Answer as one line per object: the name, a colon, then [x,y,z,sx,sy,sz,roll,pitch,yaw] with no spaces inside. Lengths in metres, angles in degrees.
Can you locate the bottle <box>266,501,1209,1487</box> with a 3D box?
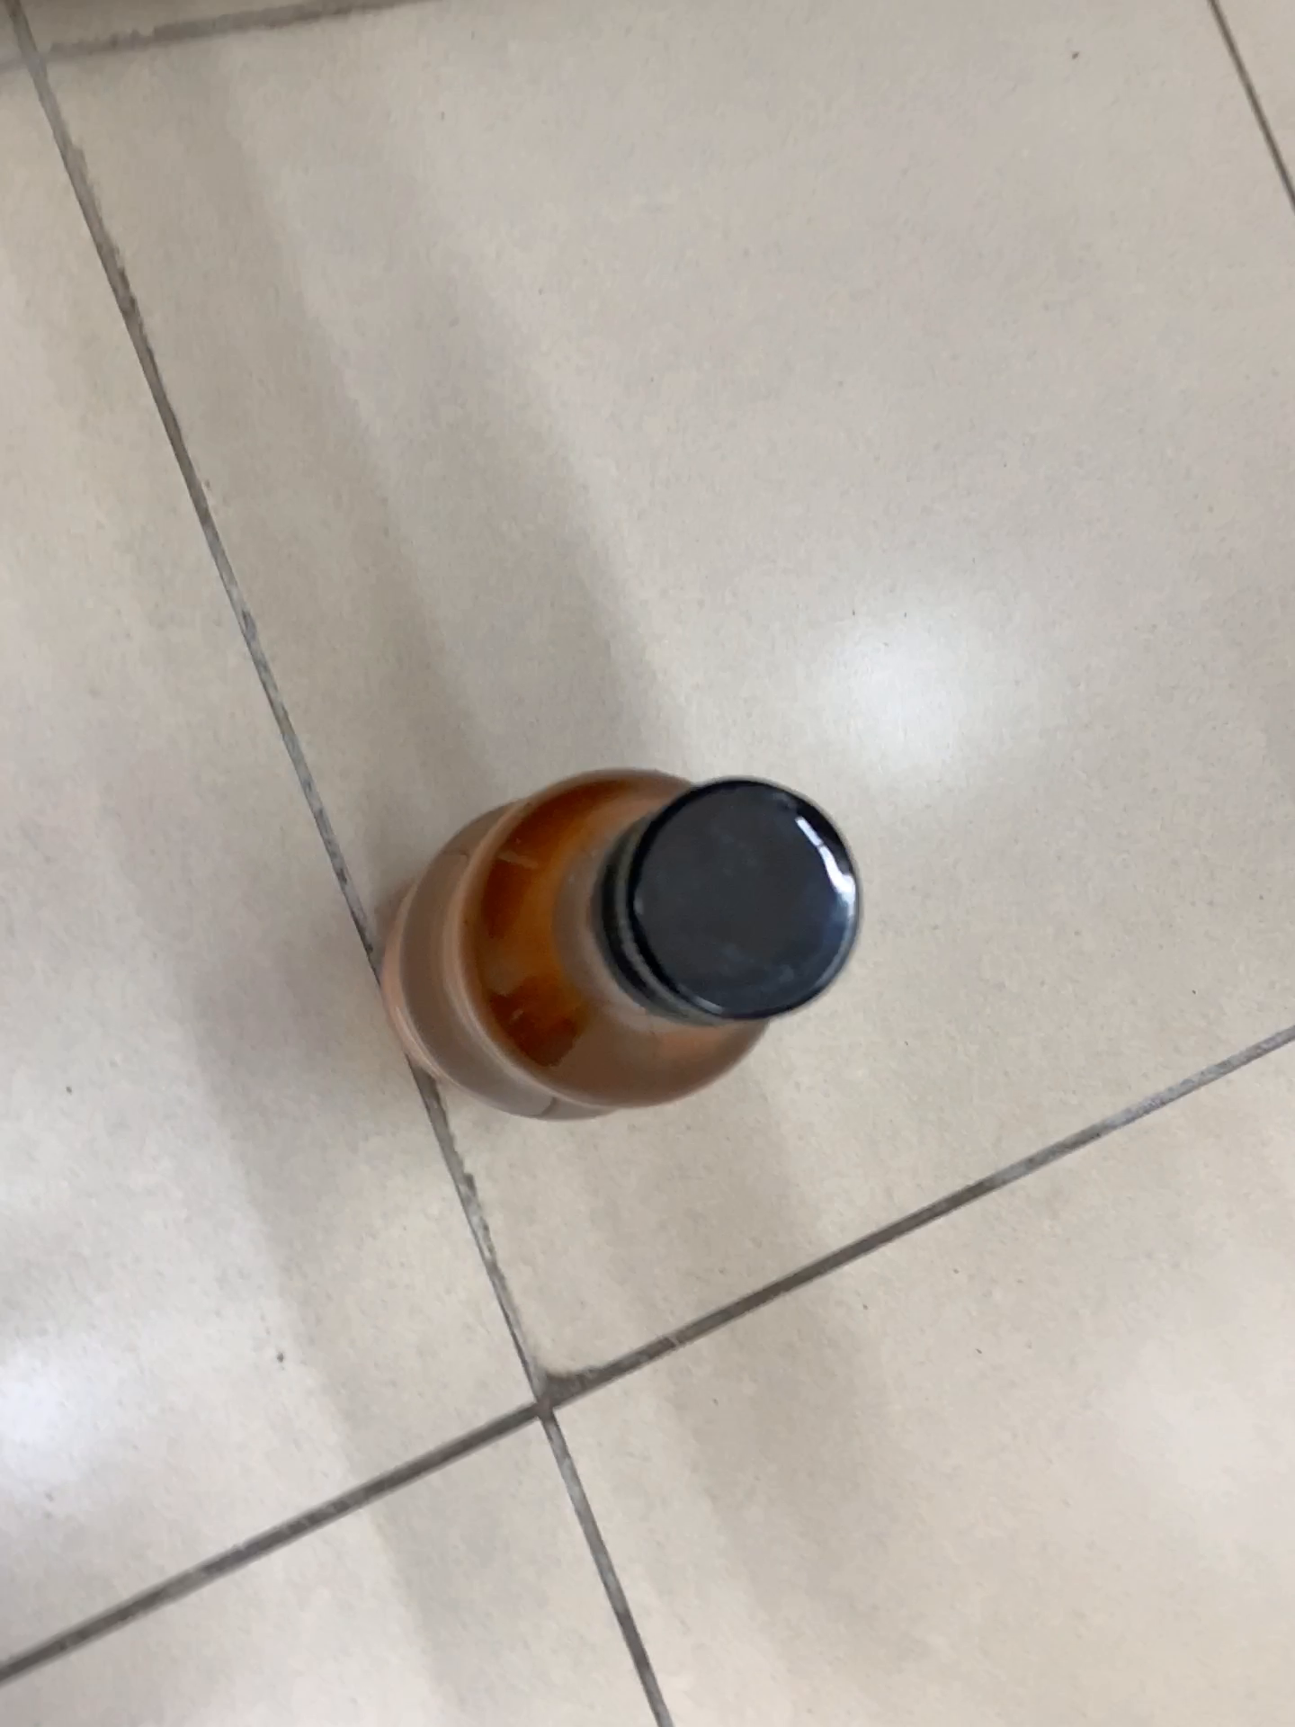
bottle: [-0.009,0.025,0.253,0.080,0.210,0.080,2,82,-13]
